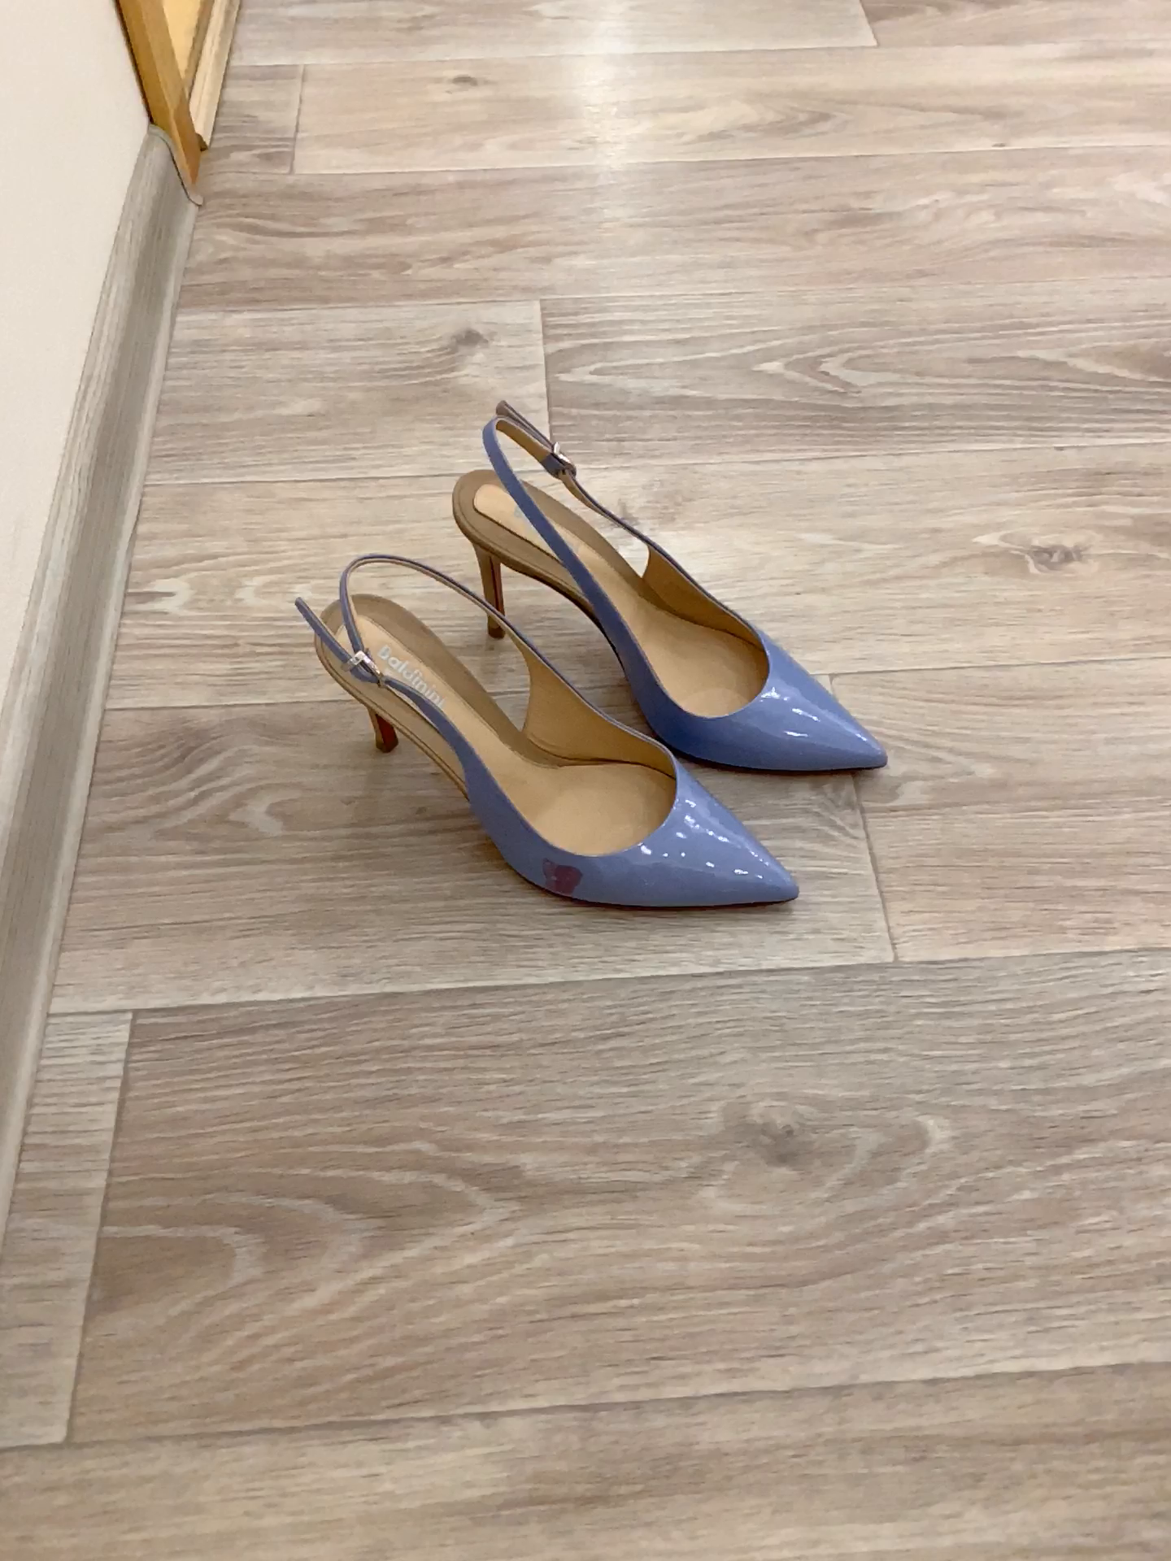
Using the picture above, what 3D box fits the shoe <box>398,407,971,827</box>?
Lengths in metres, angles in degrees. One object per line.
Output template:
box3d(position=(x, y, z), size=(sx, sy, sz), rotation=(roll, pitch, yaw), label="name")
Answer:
box3d(position=(0.042, -0.077, 0.557), size=(0.230, 0.100, 0.090), rotation=(19, 57, 12), label="shoe")

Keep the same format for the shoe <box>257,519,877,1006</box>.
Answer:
box3d(position=(-0.010, -0.010, 0.515), size=(0.230, 0.100, 0.090), rotation=(23, 59, 15), label="shoe")
